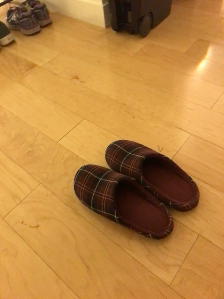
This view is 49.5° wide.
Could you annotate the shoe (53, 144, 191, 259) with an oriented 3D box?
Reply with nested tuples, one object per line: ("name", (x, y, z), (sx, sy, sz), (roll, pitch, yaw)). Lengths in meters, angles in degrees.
("shoe", (0.015, 0.103, 0.553), (0.280, 0.070, 0.121), (26, 59, 25))

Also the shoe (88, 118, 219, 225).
("shoe", (0.089, 0.039, 0.592), (0.281, 0.070, 0.120), (31, 61, 28))
